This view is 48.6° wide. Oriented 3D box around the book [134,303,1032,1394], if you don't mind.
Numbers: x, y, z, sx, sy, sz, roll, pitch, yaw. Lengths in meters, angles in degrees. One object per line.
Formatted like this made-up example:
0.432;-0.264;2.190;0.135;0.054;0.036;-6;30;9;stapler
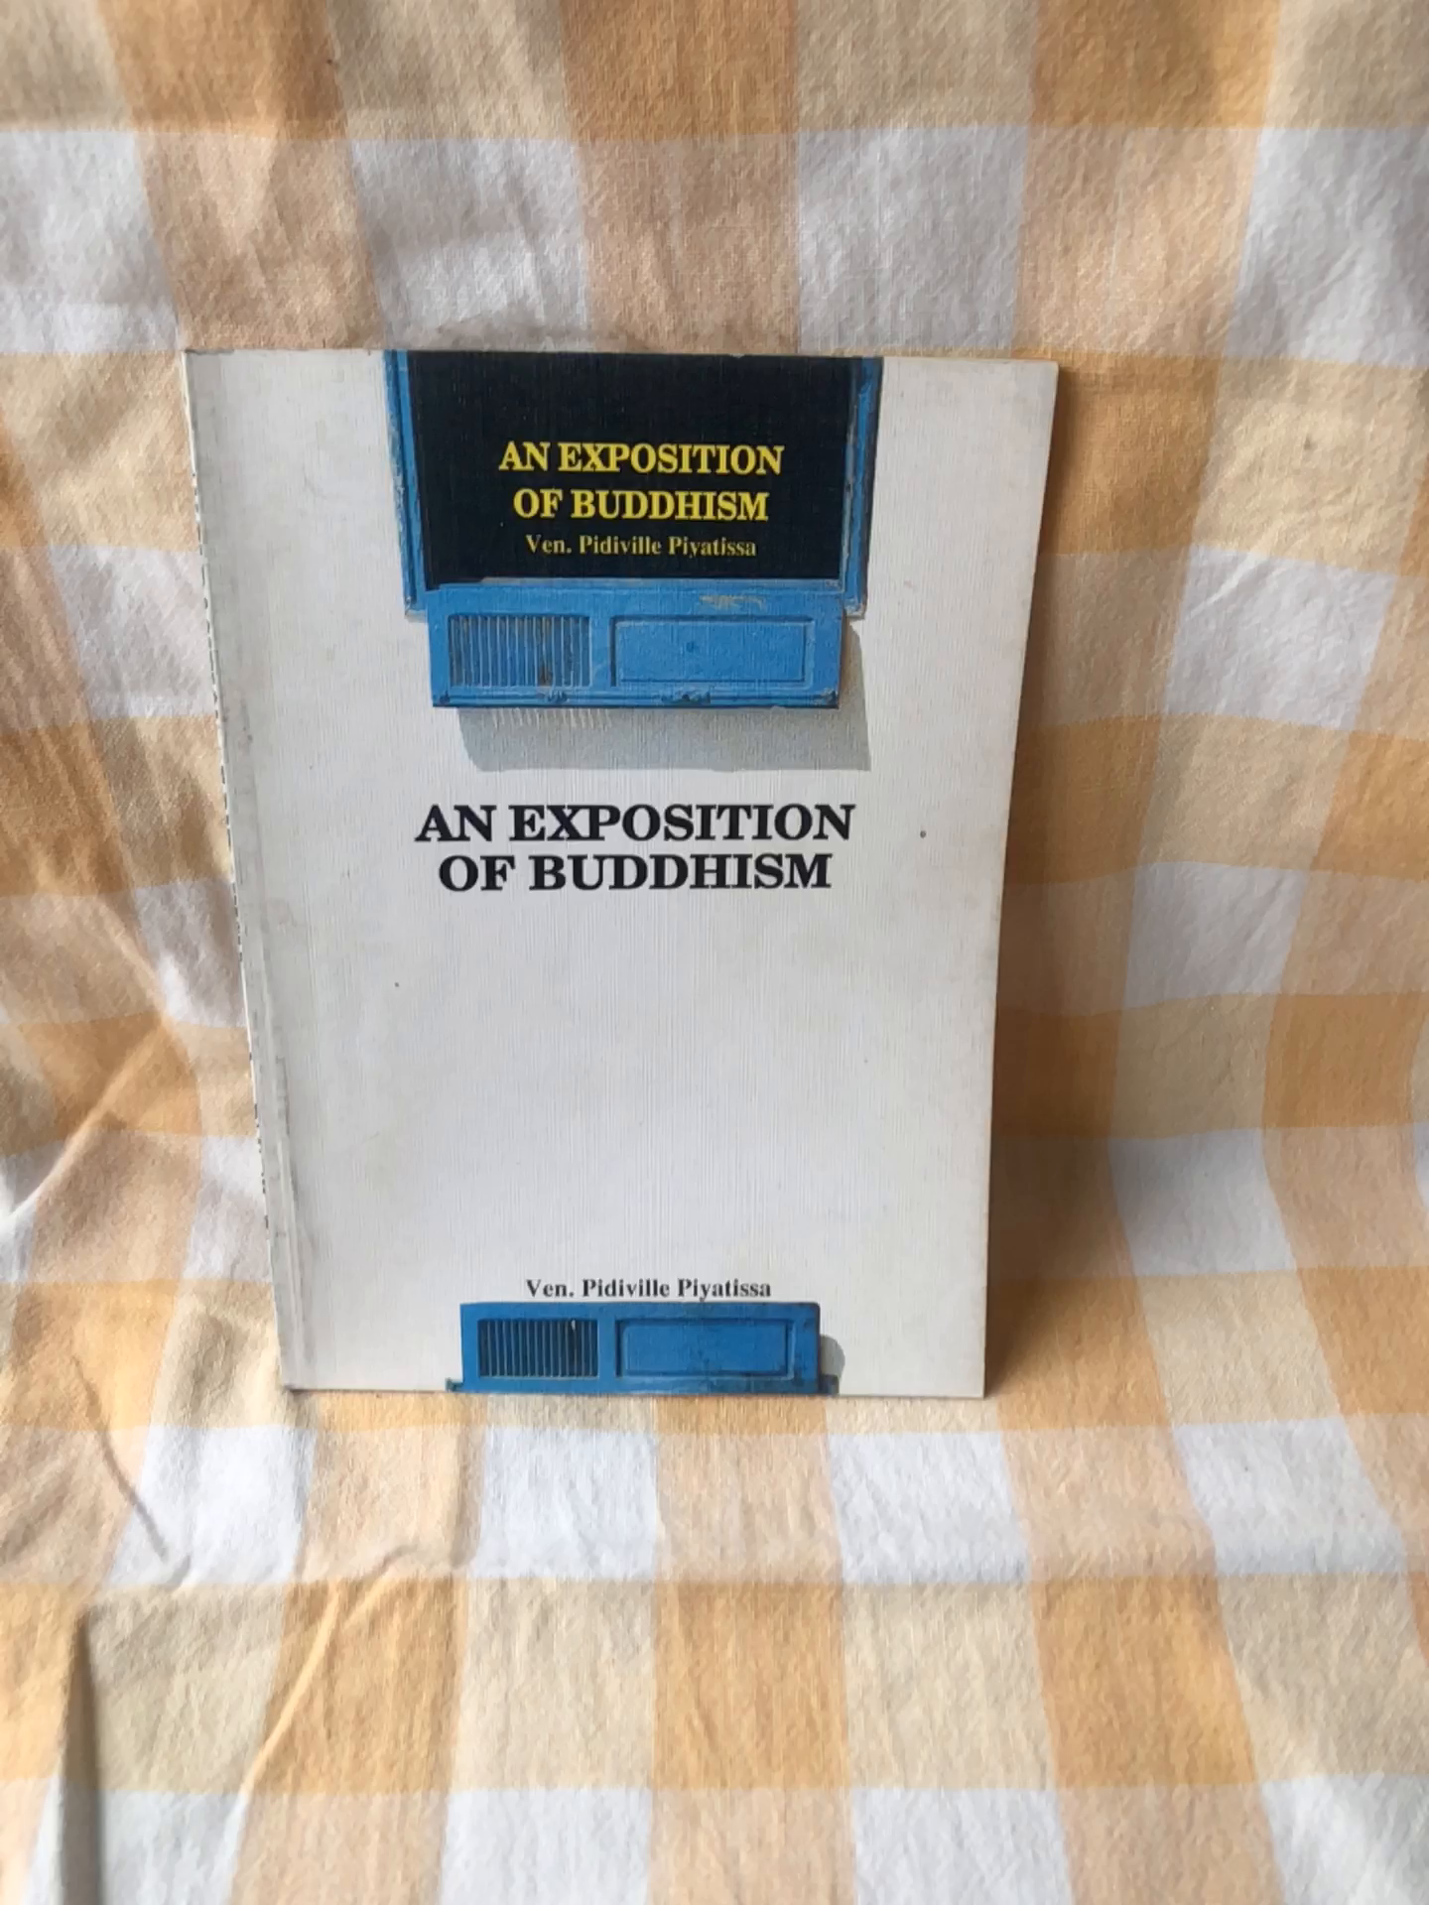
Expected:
-0.020;-0.011;0.289;0.140;0.199;0.020;0;20;2;book
